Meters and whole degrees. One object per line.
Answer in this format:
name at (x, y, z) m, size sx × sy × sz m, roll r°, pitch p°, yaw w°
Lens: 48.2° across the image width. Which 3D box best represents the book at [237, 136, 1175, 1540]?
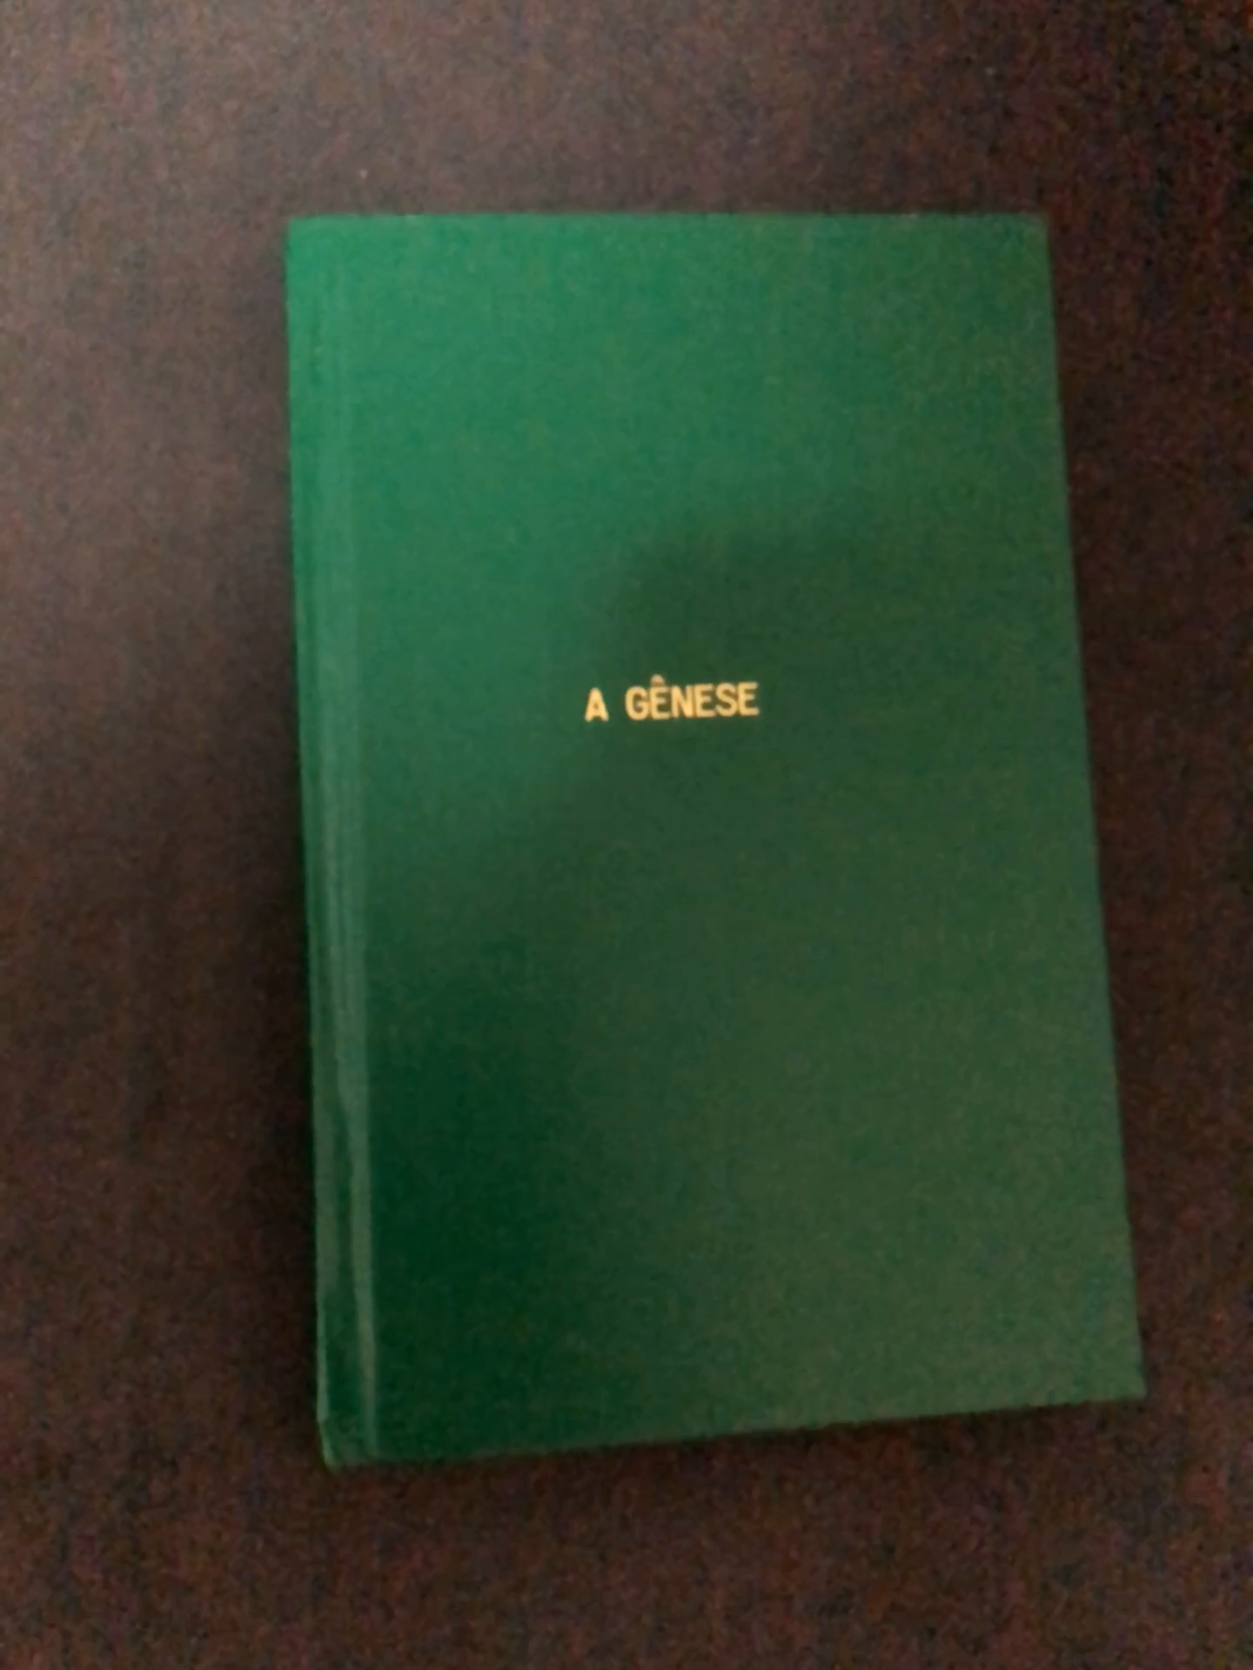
book at (0.010, -0.007, 0.265) m, size 0.150 × 0.040 × 0.240 m, roll -3°, pitch 84°, yaw -5°
